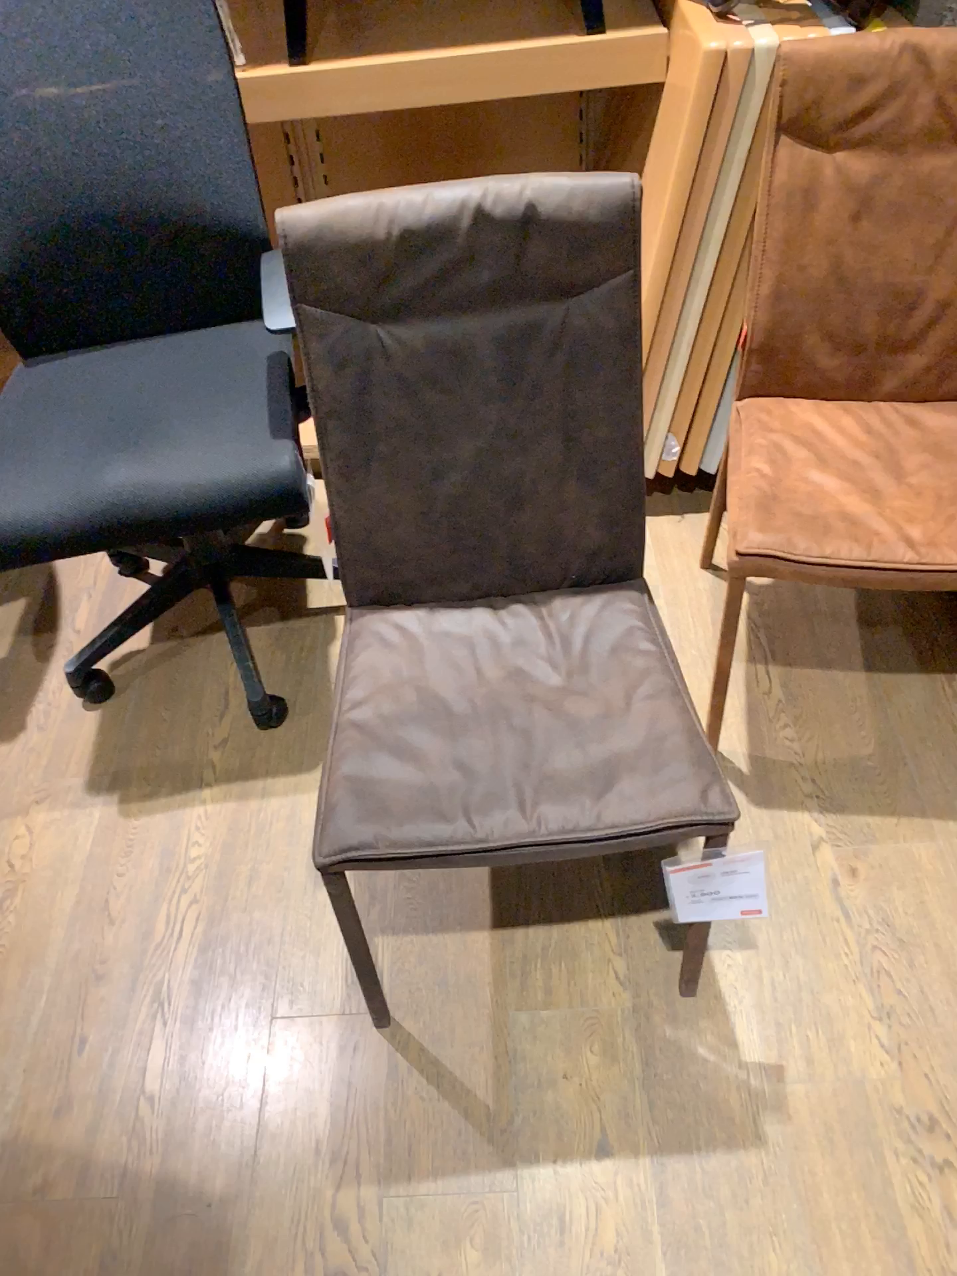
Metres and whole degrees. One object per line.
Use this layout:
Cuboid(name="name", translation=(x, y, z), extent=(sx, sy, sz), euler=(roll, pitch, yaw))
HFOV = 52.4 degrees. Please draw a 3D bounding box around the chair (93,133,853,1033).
Cuboid(name="chair", translation=(0.013, 0.005, 1.144), extent=(0.500, 0.907, 0.522), euler=(-5, 46, 1))
